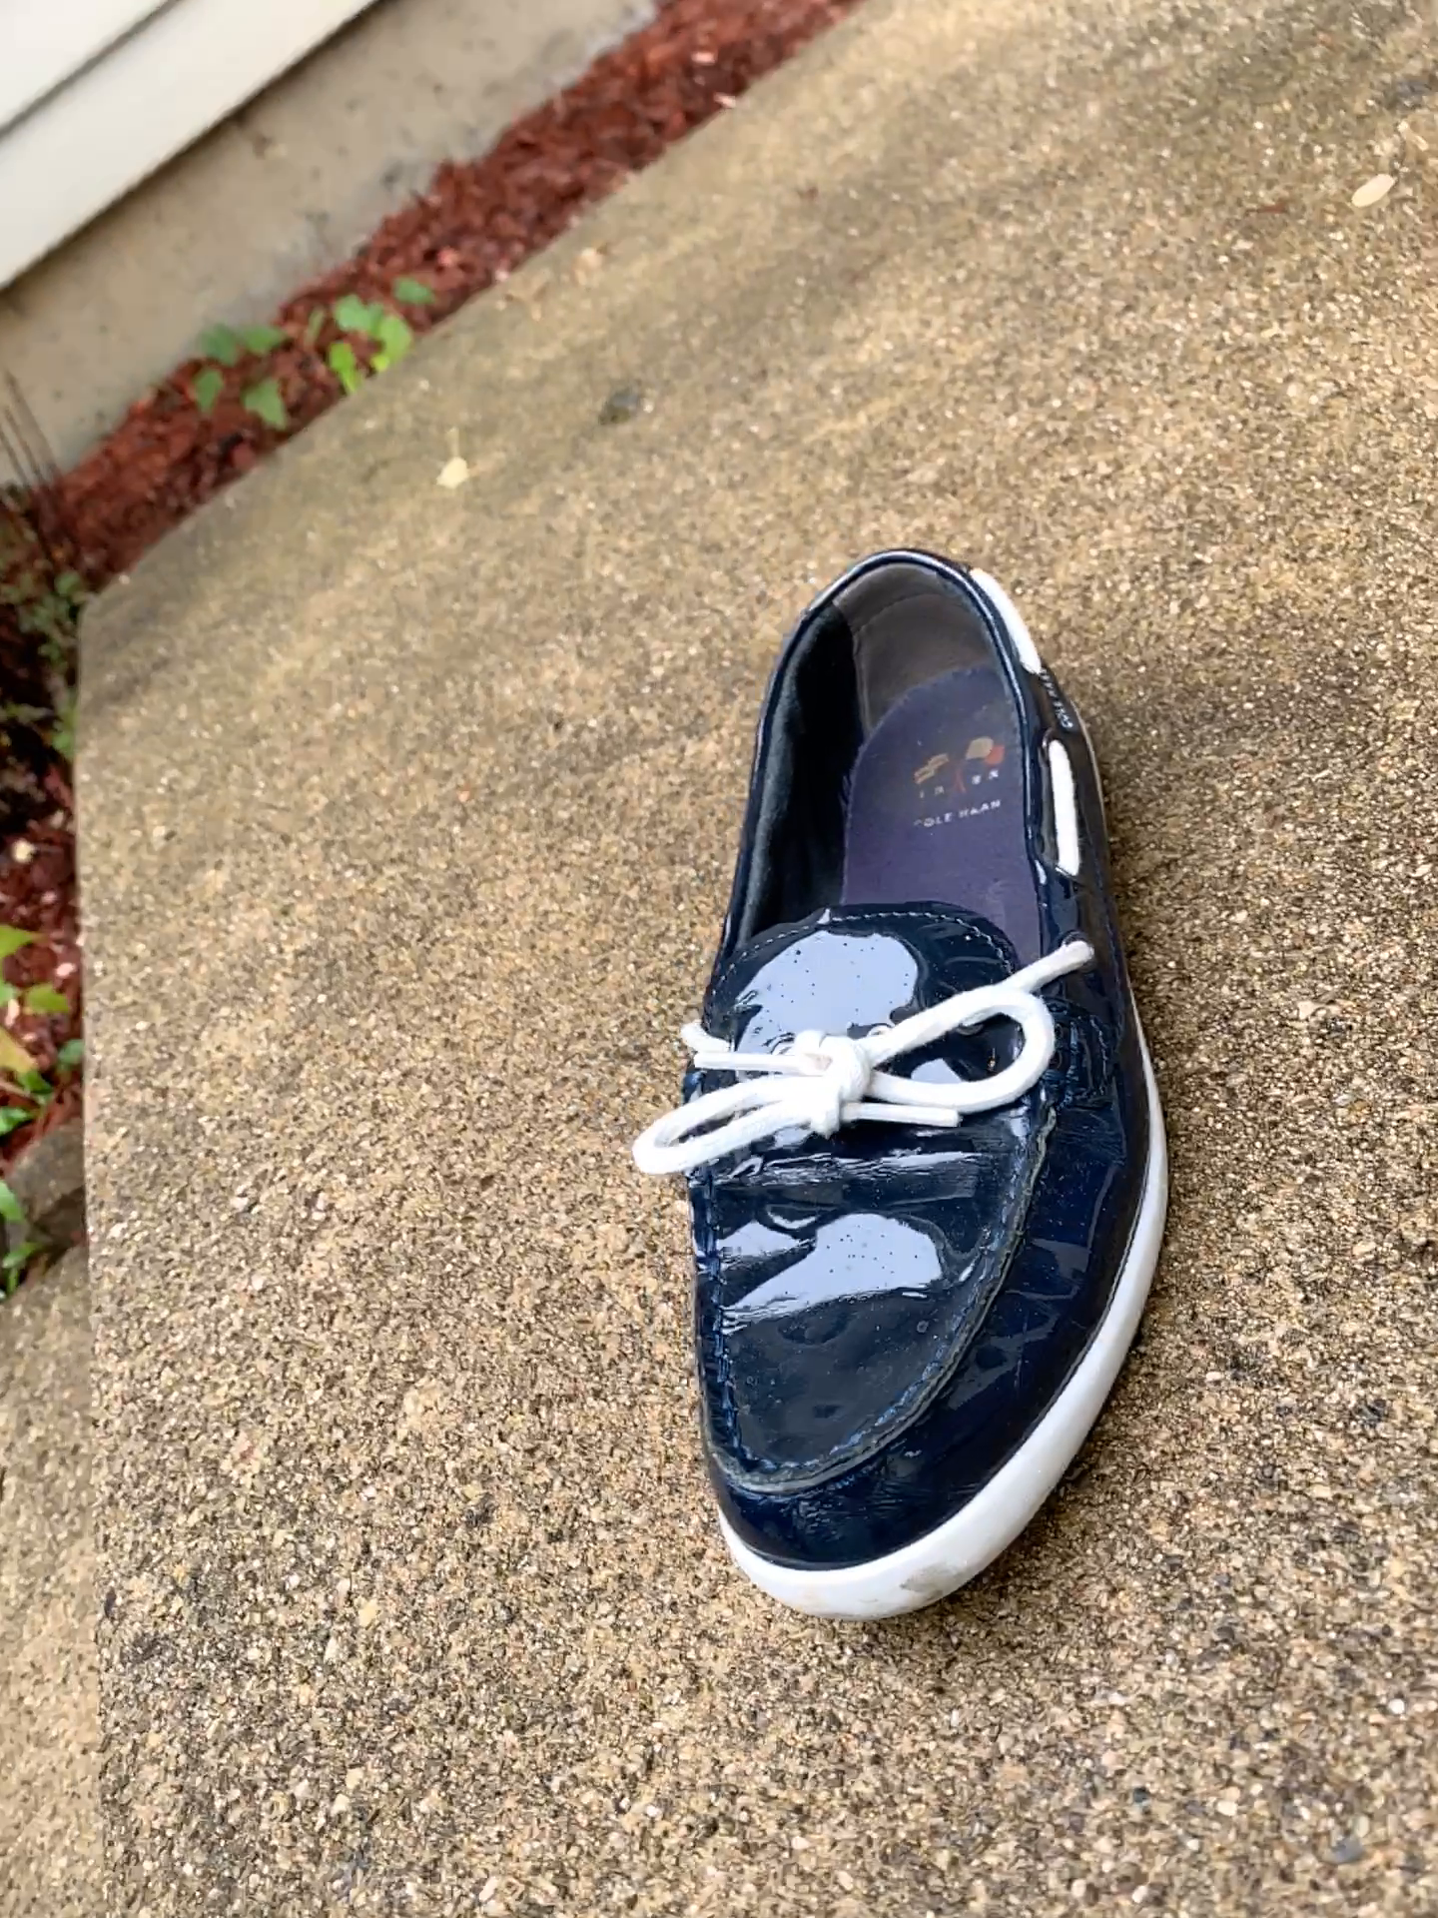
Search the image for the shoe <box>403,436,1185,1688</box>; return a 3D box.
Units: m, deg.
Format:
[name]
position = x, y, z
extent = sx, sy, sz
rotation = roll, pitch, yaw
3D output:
[shoe]
position = 0.036, 0.007, 0.317
extent = 0.101, 0.083, 0.246
rotation = -12, 44, 29
